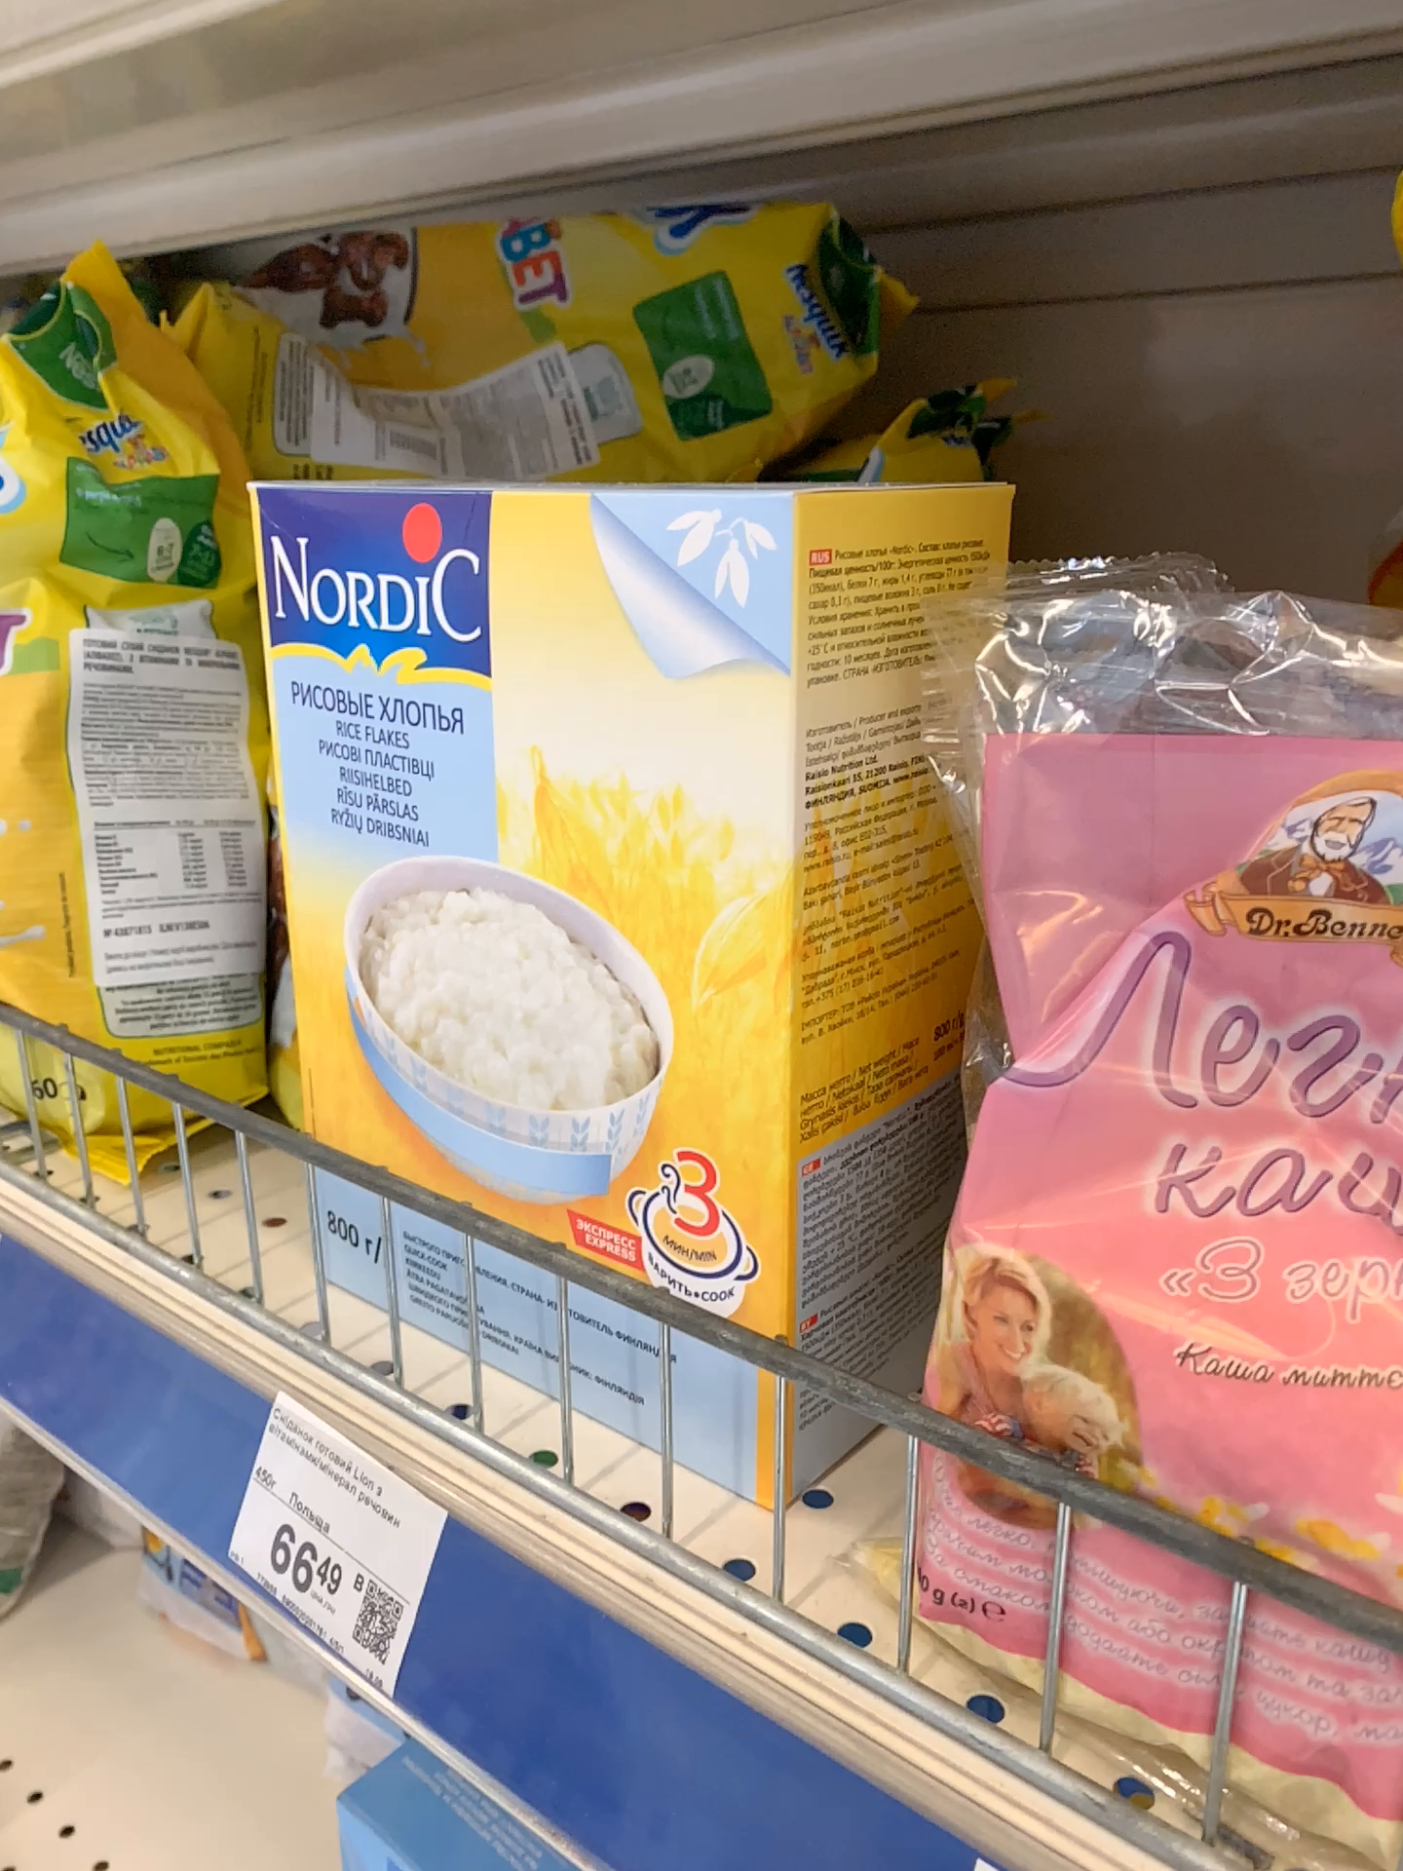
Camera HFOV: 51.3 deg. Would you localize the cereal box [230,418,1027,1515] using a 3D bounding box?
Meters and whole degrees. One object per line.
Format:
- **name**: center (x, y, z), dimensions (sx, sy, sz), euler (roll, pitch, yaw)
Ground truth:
- **cereal box**: center (-0.020, -0.007, 0.329), dimensions (0.150, 0.199, 0.080), euler (13, 20, 37)
